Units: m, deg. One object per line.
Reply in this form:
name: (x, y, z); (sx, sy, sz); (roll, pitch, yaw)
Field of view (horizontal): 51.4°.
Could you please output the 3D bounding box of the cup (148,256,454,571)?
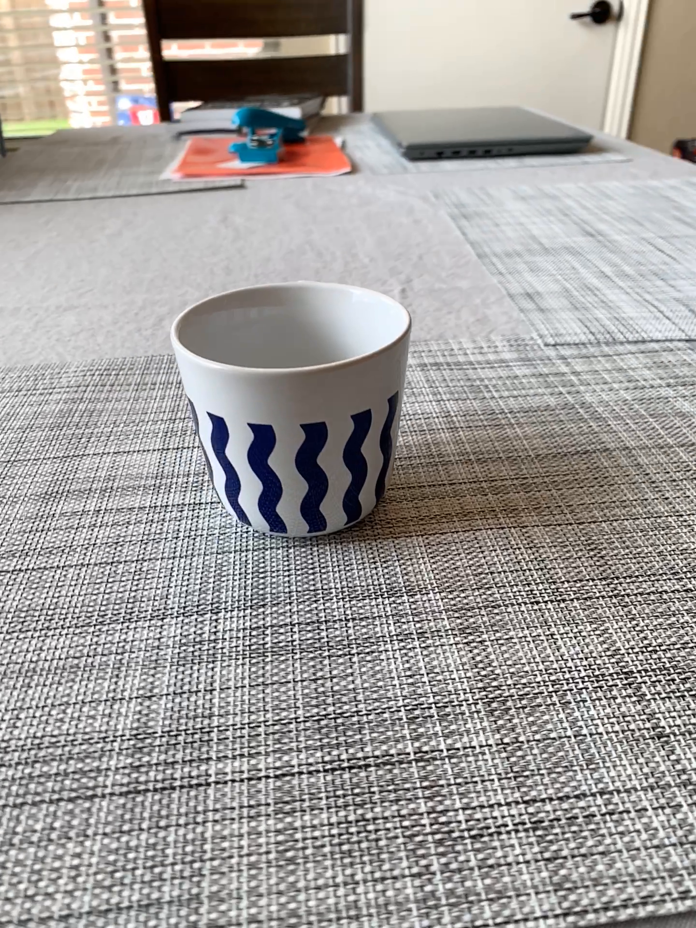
cup: (-0.008, -0.027, 0.280); (0.086, 0.072, 0.113); (4, 32, 10)
